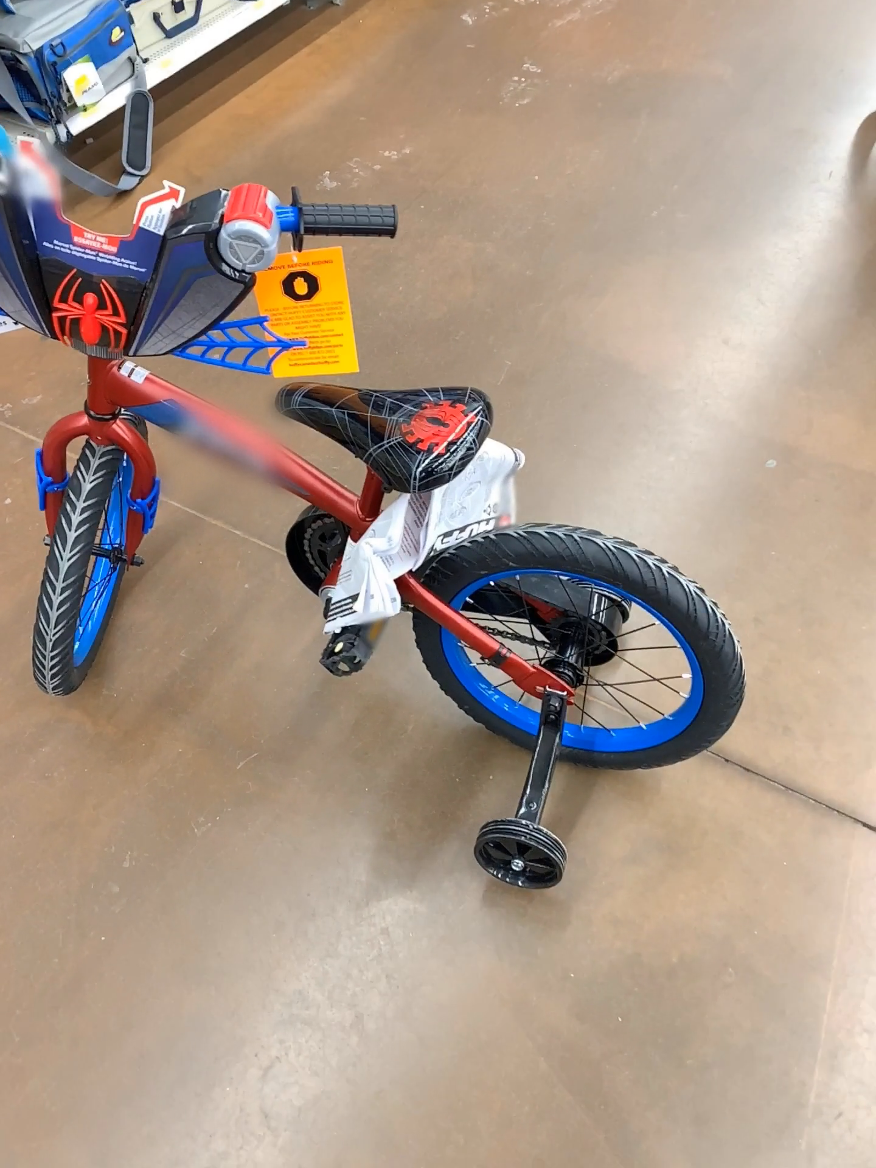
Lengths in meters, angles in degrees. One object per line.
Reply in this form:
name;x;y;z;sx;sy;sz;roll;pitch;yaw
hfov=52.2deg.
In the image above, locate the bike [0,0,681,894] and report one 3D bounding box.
bike;-0.157;-0.093;0.799;0.565;0.709;0.477;5;52;9
